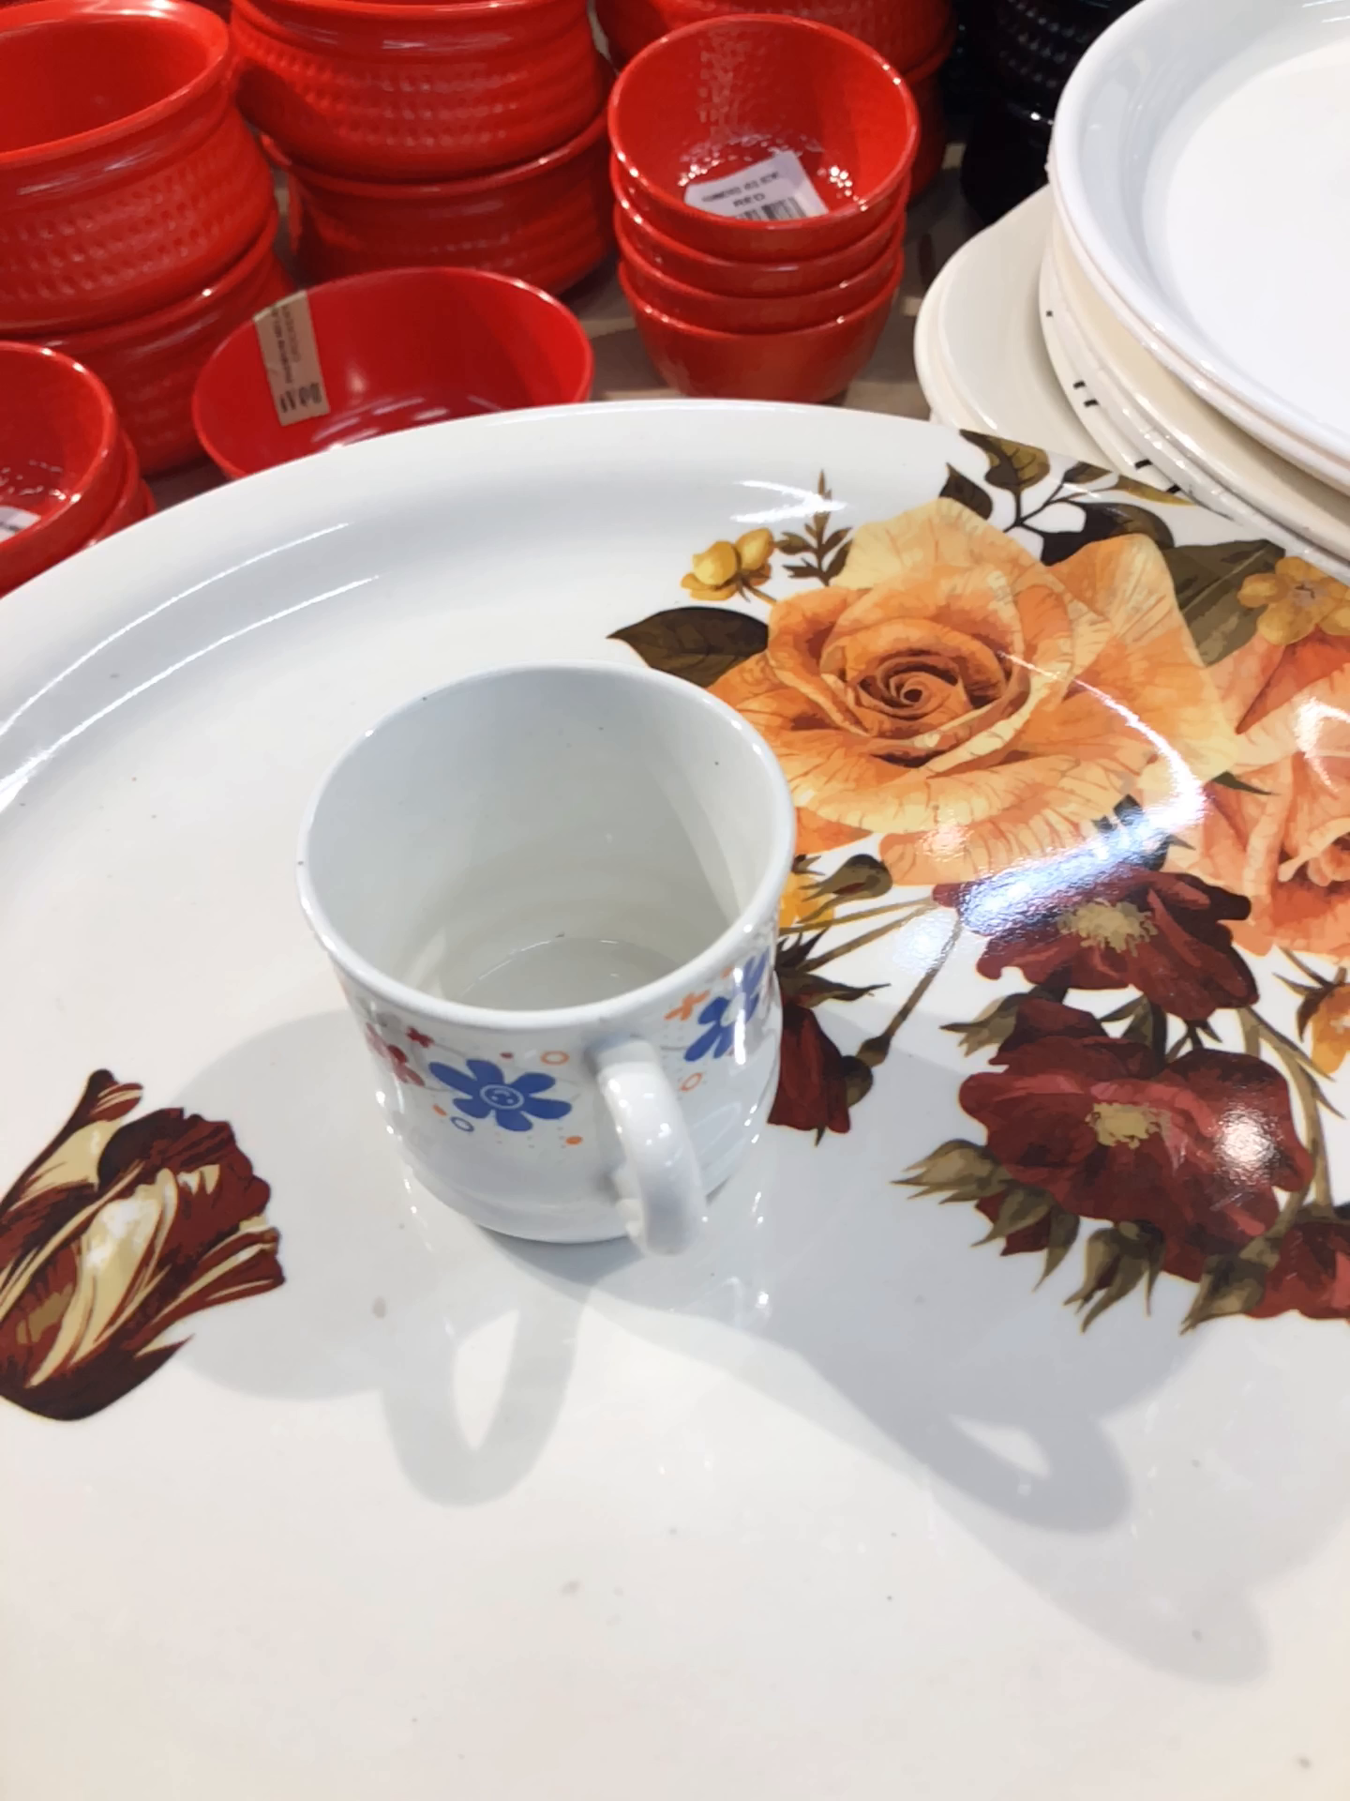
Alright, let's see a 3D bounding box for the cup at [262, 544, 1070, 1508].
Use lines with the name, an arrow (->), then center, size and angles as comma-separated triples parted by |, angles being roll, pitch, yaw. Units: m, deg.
cup -> -0.005, 0.017, 0.227 | 0.070, 0.080, 0.100 | -22, 54, -13
